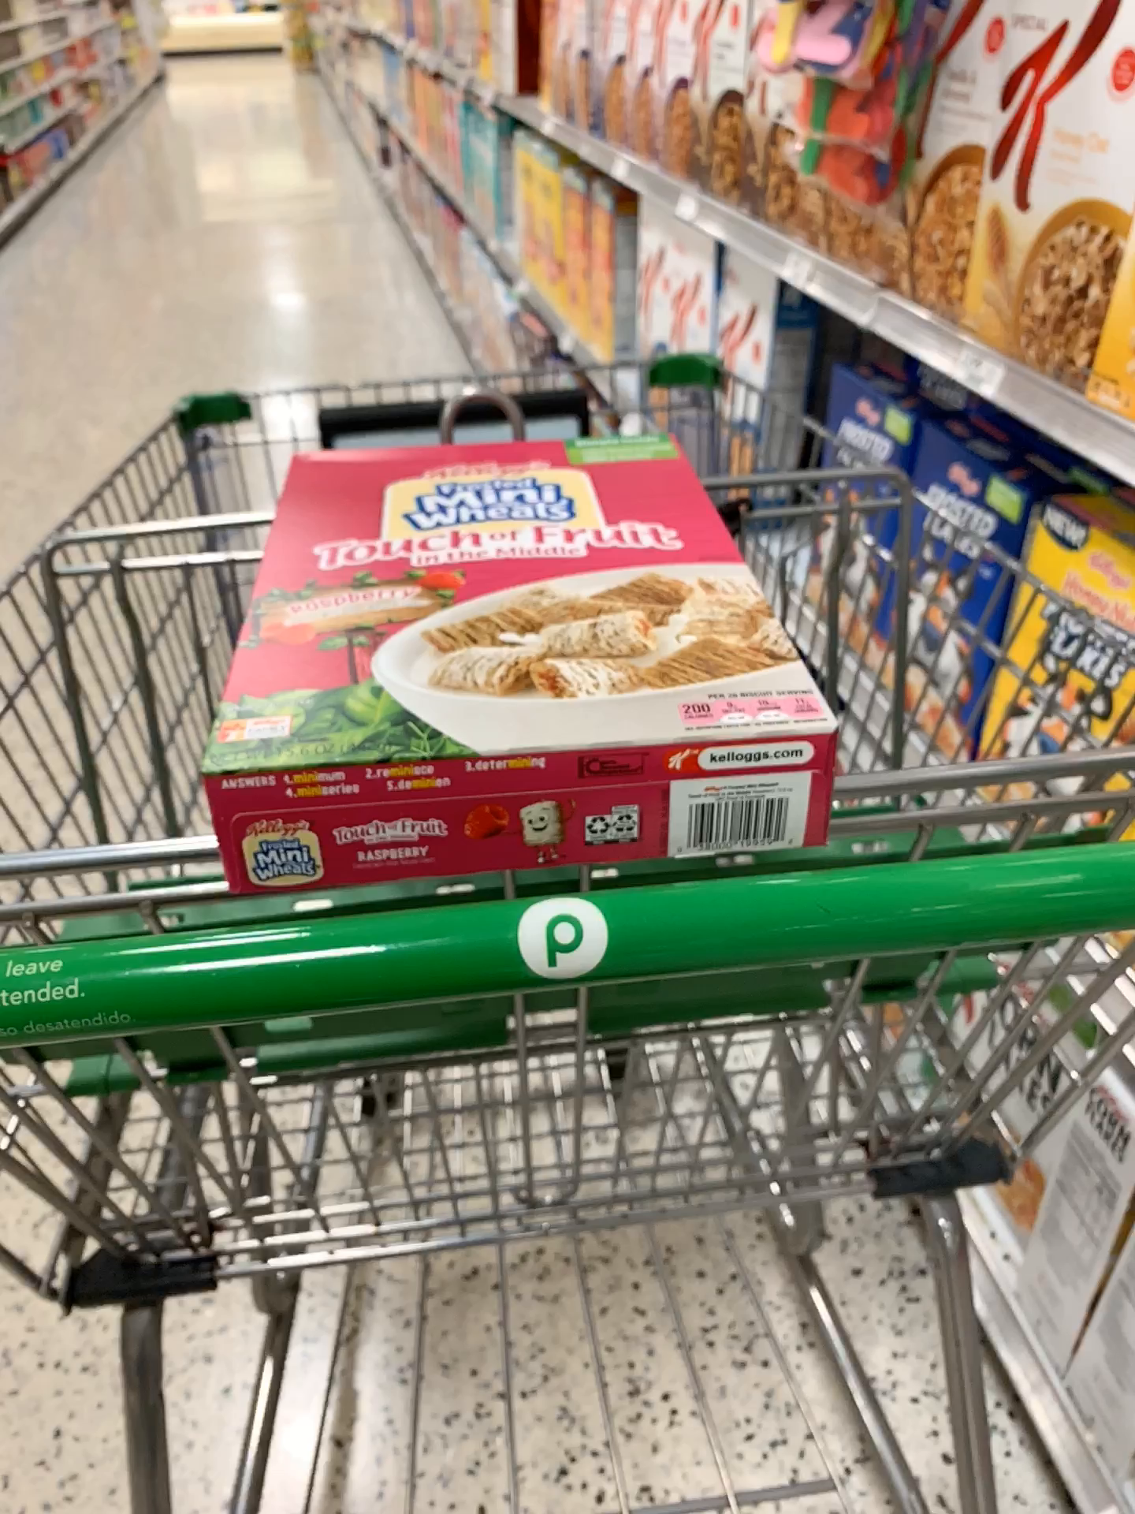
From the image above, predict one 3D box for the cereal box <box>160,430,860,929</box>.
[{"bbox_3d":[-0.029,-0.056,0.473,0.200,0.049,0.293,-4,33,-5],"label":"cereal box"}]
